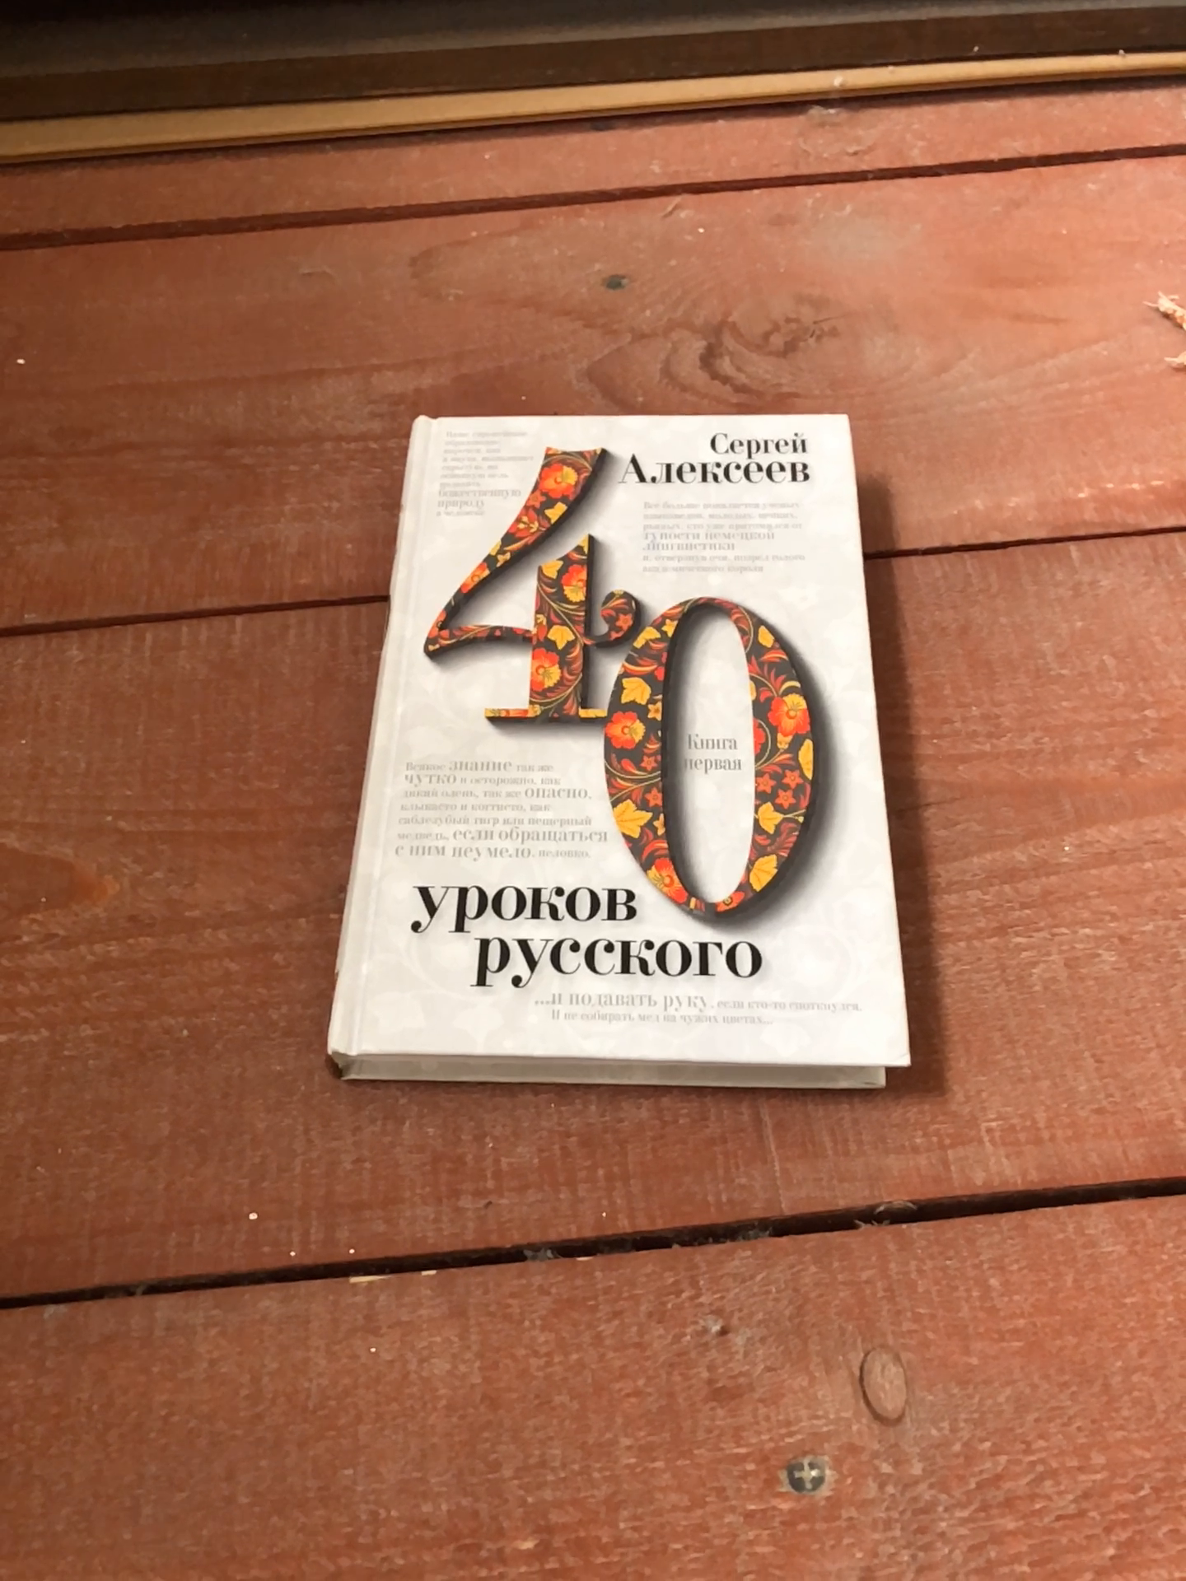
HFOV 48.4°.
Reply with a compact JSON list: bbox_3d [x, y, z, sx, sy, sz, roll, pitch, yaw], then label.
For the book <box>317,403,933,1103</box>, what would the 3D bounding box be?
[{"bbox_3d":[0.009,-0.021,0.352,0.135,0.030,0.200,1,60,2],"label":"book"}]
